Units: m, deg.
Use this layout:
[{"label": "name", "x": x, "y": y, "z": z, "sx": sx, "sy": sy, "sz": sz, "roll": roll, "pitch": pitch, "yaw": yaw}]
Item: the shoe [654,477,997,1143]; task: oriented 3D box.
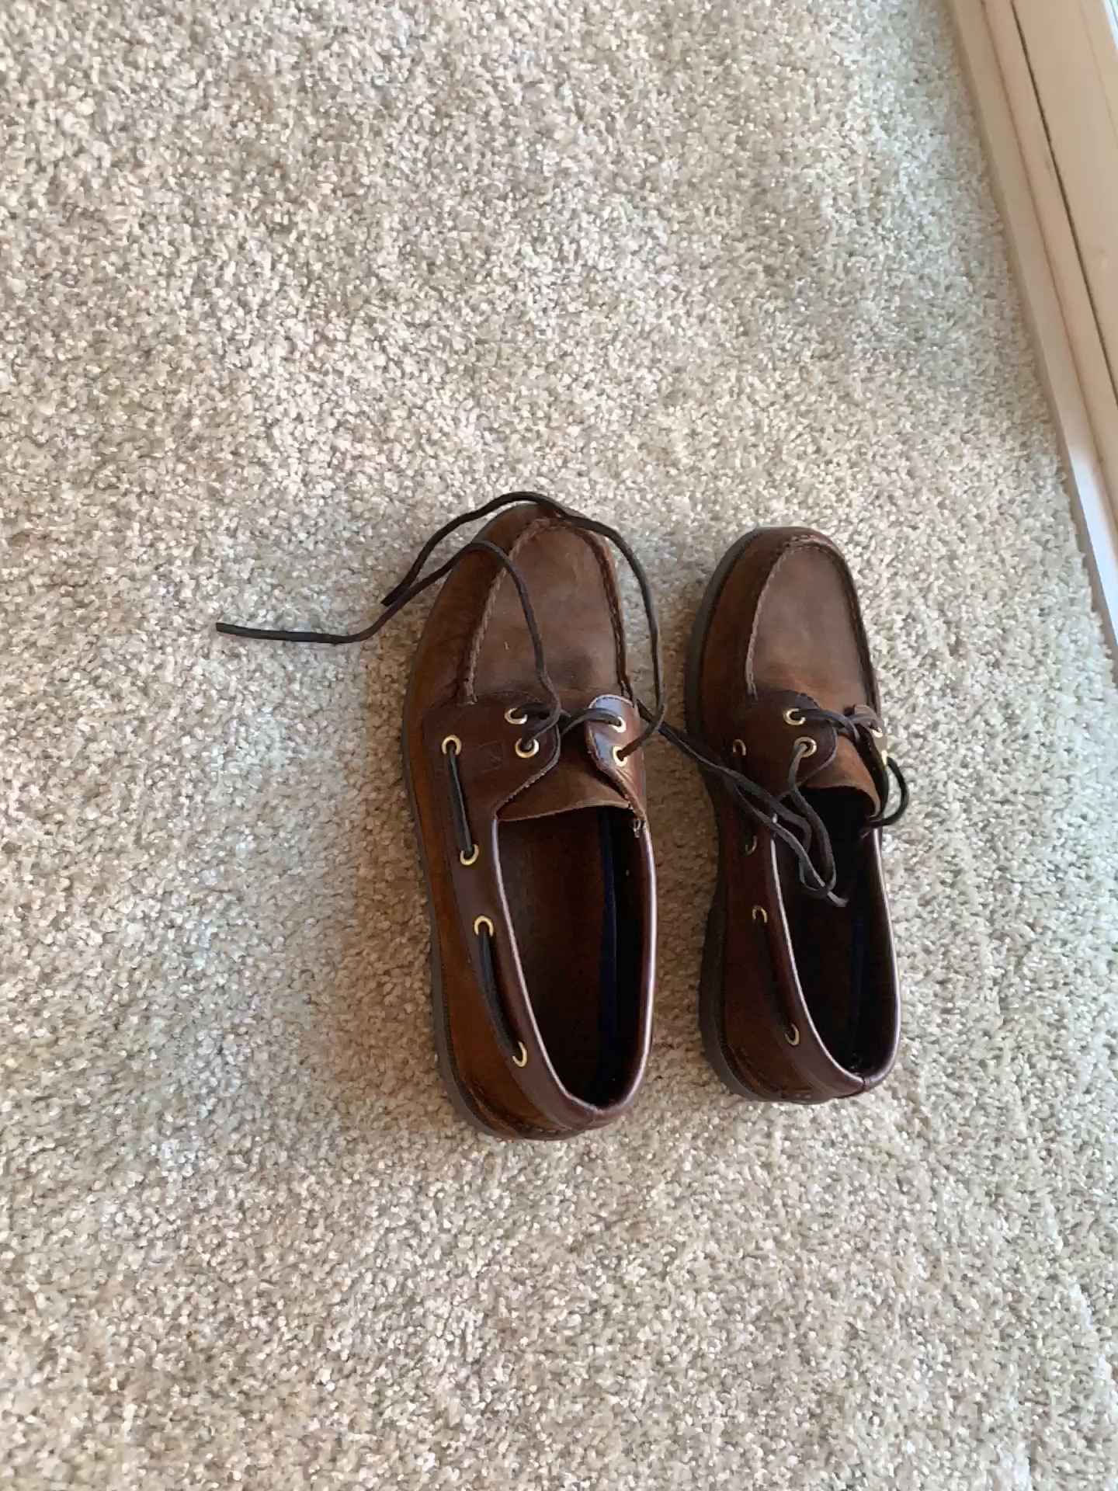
[{"label": "shoe", "x": 0.128, "y": 0.032, "z": 0.582, "sx": 0.110, "sy": 0.100, "sz": 0.300, "roll": 2, "pitch": 79, "yaw": -24}]

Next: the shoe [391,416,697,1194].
[{"label": "shoe", "x": -0.014, "y": 0.025, "z": 0.535, "sx": 0.100, "sy": 0.100, "sz": 0.320, "roll": 2, "pitch": 79, "yaw": -24}]
